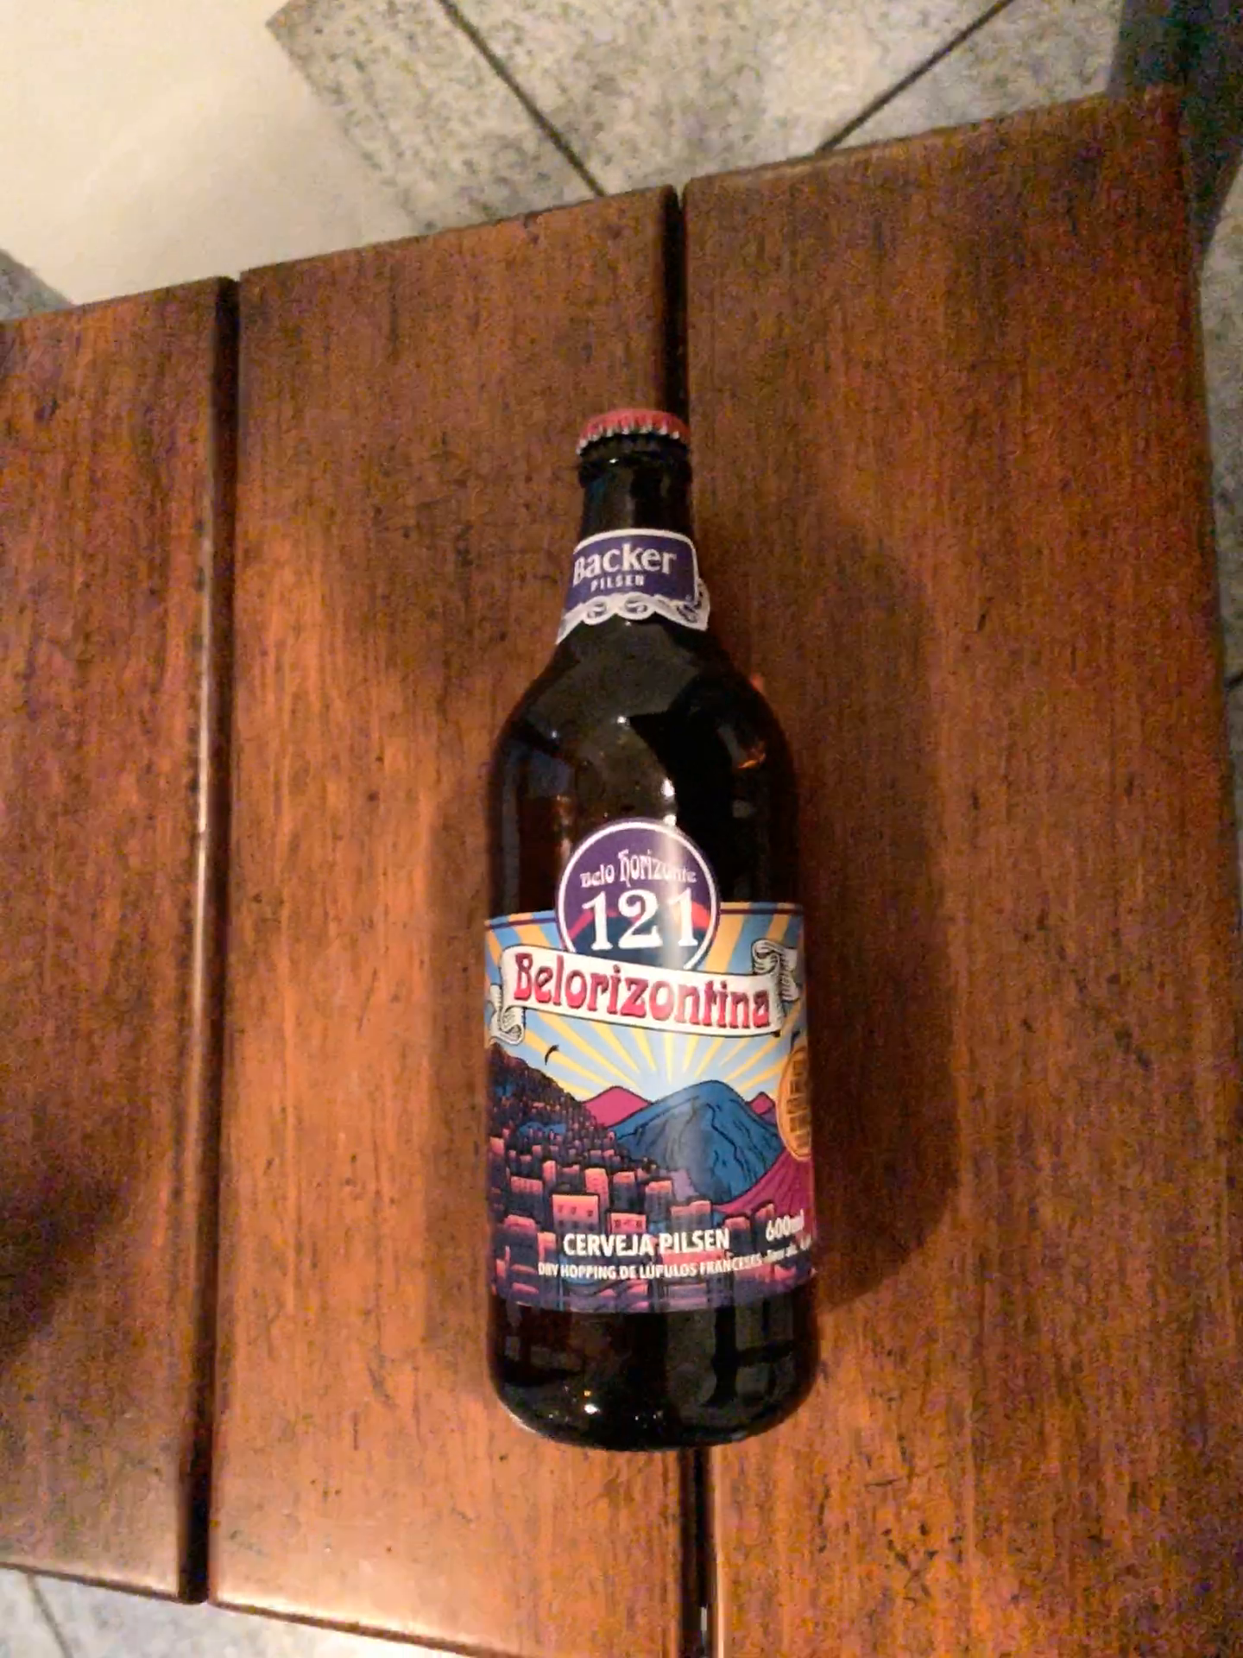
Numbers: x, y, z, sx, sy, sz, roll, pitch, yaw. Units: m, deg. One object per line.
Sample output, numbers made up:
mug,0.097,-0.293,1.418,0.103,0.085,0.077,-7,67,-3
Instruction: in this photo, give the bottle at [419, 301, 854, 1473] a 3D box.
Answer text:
bottle,0.003,0.011,0.293,0.080,0.050,0.240,-3,83,7
